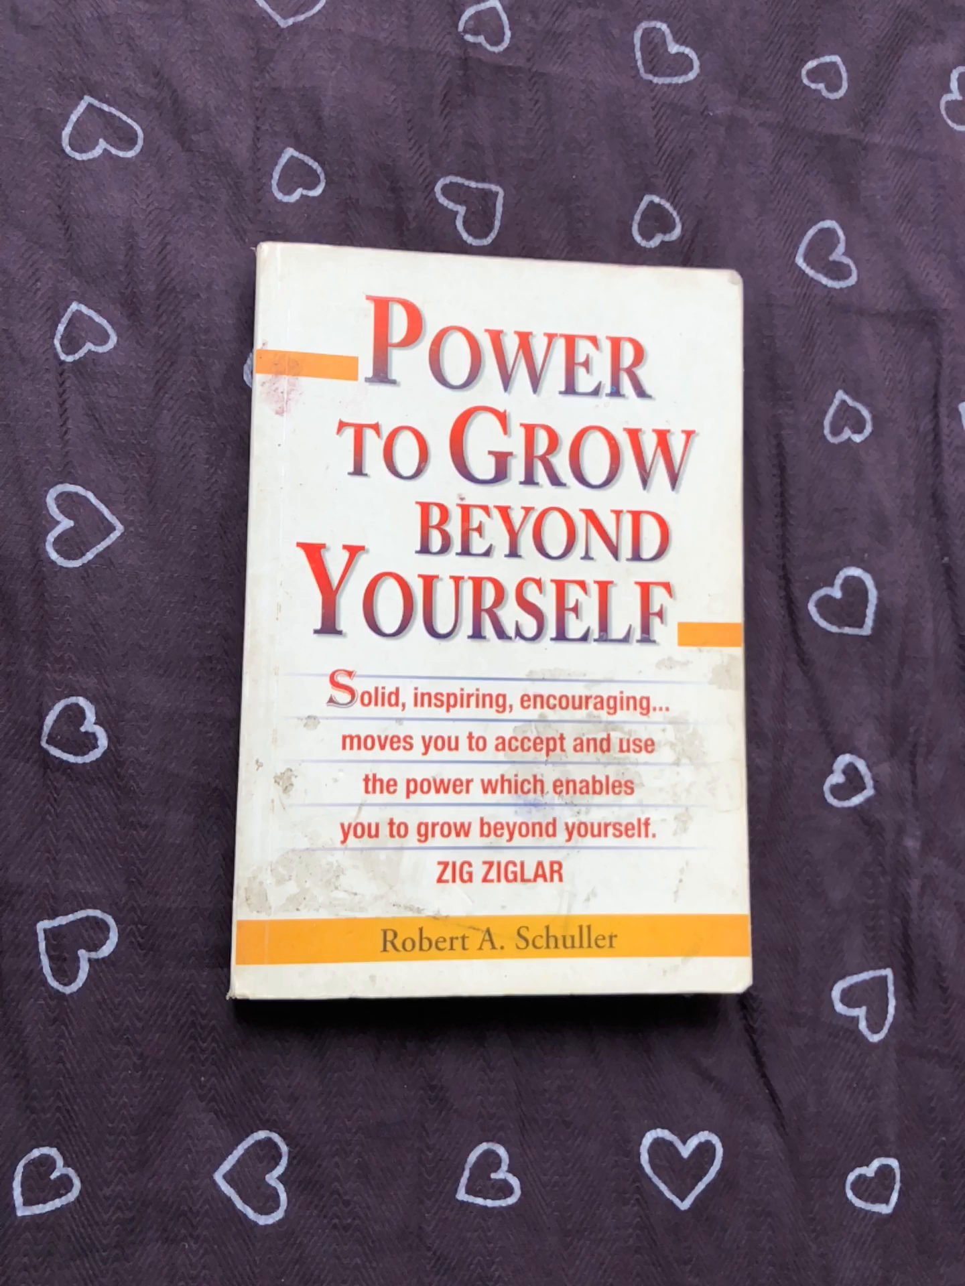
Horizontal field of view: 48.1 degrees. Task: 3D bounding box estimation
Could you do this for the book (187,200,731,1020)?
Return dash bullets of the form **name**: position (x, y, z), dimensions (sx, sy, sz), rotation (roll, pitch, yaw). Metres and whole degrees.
- **book**: position (-0.004, -0.007, 0.260), dimensions (0.120, 0.030, 0.180), rotation (2, 83, -11)
